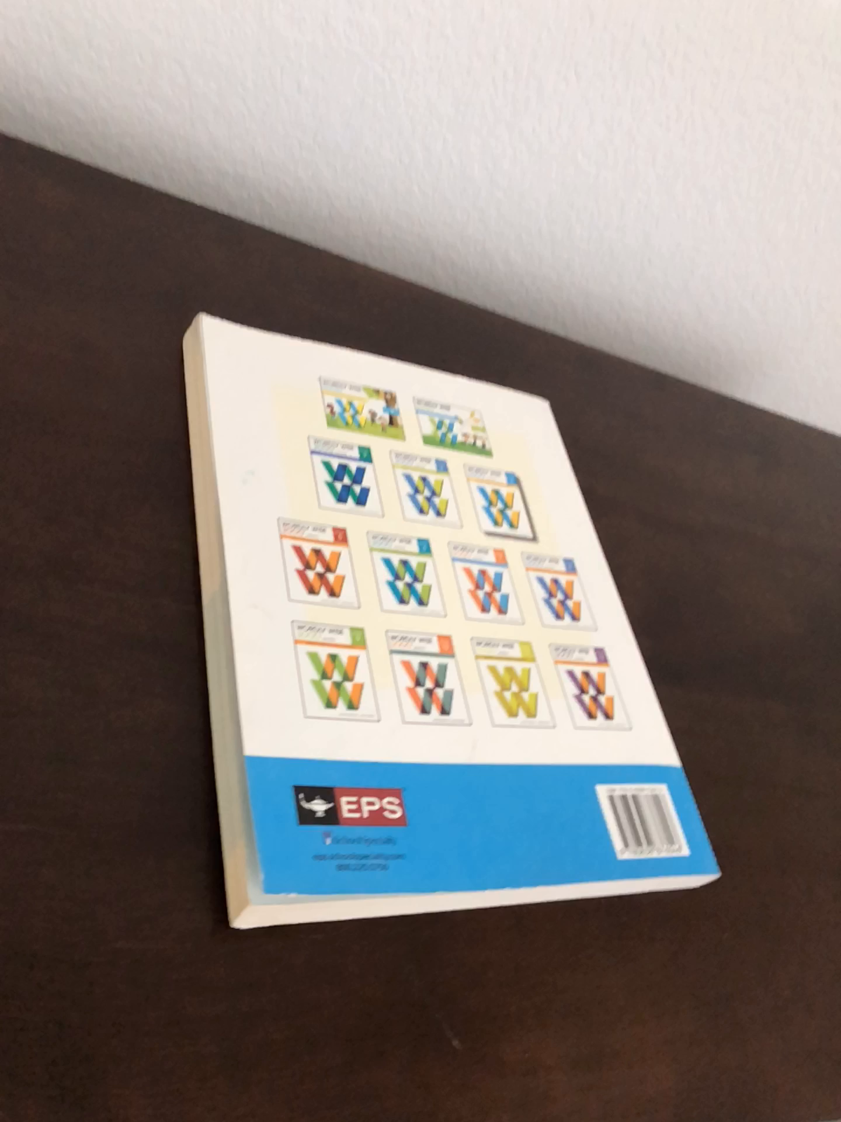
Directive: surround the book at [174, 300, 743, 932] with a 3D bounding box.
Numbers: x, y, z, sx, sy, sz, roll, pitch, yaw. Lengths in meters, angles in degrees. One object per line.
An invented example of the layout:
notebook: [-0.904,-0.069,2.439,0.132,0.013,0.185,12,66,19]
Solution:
book: [0.008,0.013,0.421,0.221,0.031,0.271,7,53,-28]
